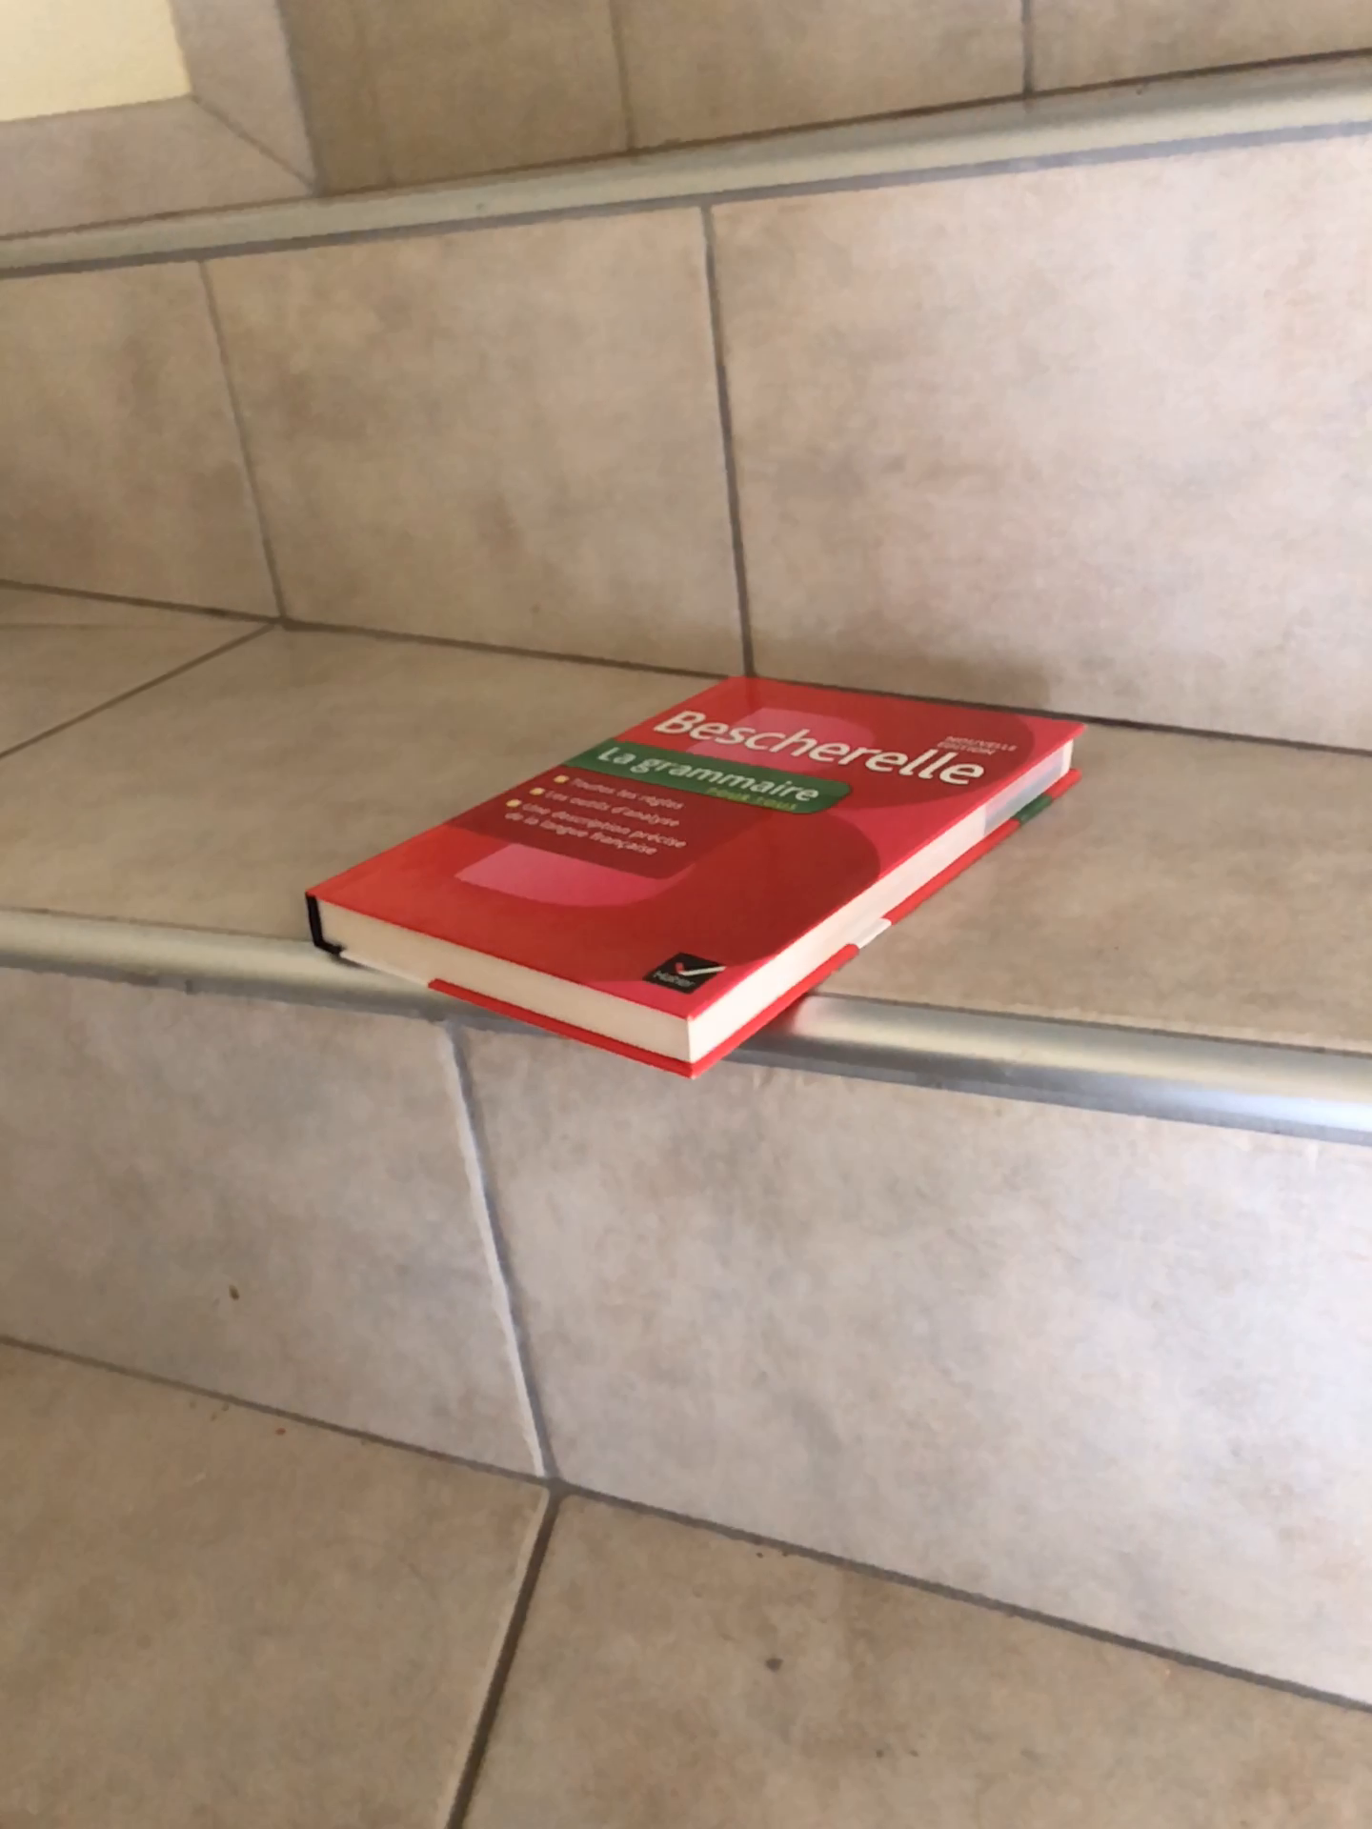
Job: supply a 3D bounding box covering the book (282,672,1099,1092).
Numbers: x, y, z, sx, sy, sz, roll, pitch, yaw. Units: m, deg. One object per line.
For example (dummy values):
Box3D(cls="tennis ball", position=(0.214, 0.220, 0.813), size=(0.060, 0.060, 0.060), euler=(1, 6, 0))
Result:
Box3D(cls="book", position=(0.009, -0.024, 0.441), size=(0.143, 0.020, 0.202), euler=(14, 33, 38))
